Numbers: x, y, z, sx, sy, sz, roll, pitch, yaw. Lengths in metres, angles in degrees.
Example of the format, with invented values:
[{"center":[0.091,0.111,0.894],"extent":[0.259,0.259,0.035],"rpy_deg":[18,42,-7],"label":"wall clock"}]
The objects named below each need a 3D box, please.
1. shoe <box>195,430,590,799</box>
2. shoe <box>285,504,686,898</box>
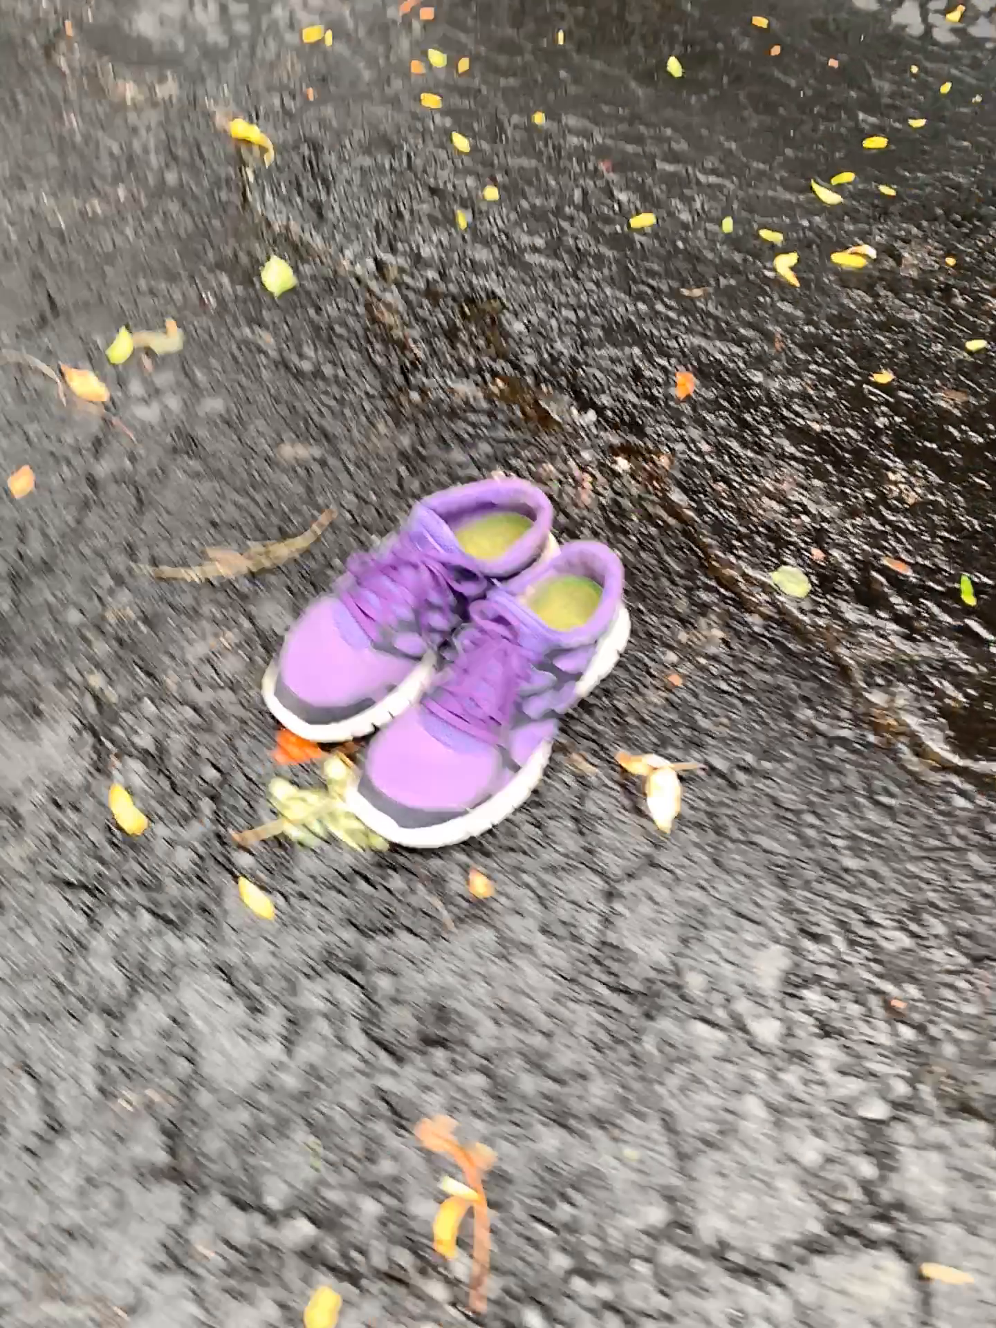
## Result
[{"center":[-0.075,-0.044,0.804],"extent":[0.301,0.090,0.110],"rpy_deg":[-41,72,-20],"label":"shoe"},{"center":[-0.004,0.026,0.782],"extent":[0.300,0.100,0.110],"rpy_deg":[-42,72,-16],"label":"shoe"}]
